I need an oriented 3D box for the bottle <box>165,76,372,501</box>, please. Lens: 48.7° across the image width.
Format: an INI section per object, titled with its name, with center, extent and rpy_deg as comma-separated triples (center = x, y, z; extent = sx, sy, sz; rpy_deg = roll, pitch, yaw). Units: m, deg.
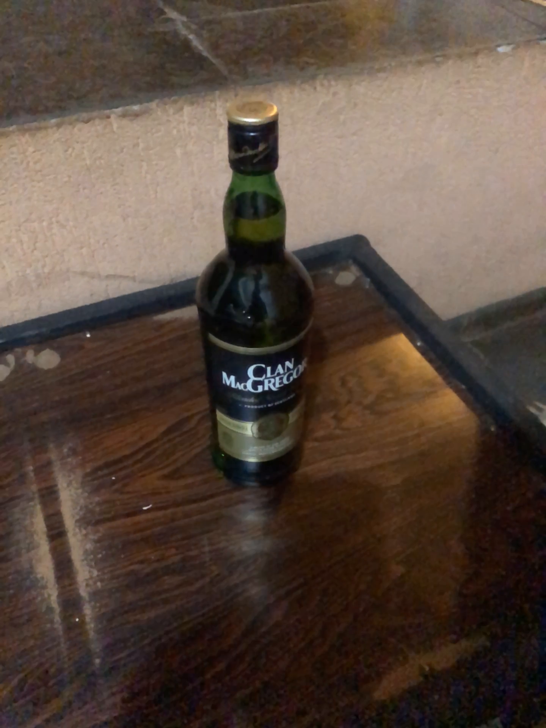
[bottle]
center = -0.006, -0.026, 0.430
extent = 0.090, 0.308, 0.080
rpy_deg = -12, 49, -11
